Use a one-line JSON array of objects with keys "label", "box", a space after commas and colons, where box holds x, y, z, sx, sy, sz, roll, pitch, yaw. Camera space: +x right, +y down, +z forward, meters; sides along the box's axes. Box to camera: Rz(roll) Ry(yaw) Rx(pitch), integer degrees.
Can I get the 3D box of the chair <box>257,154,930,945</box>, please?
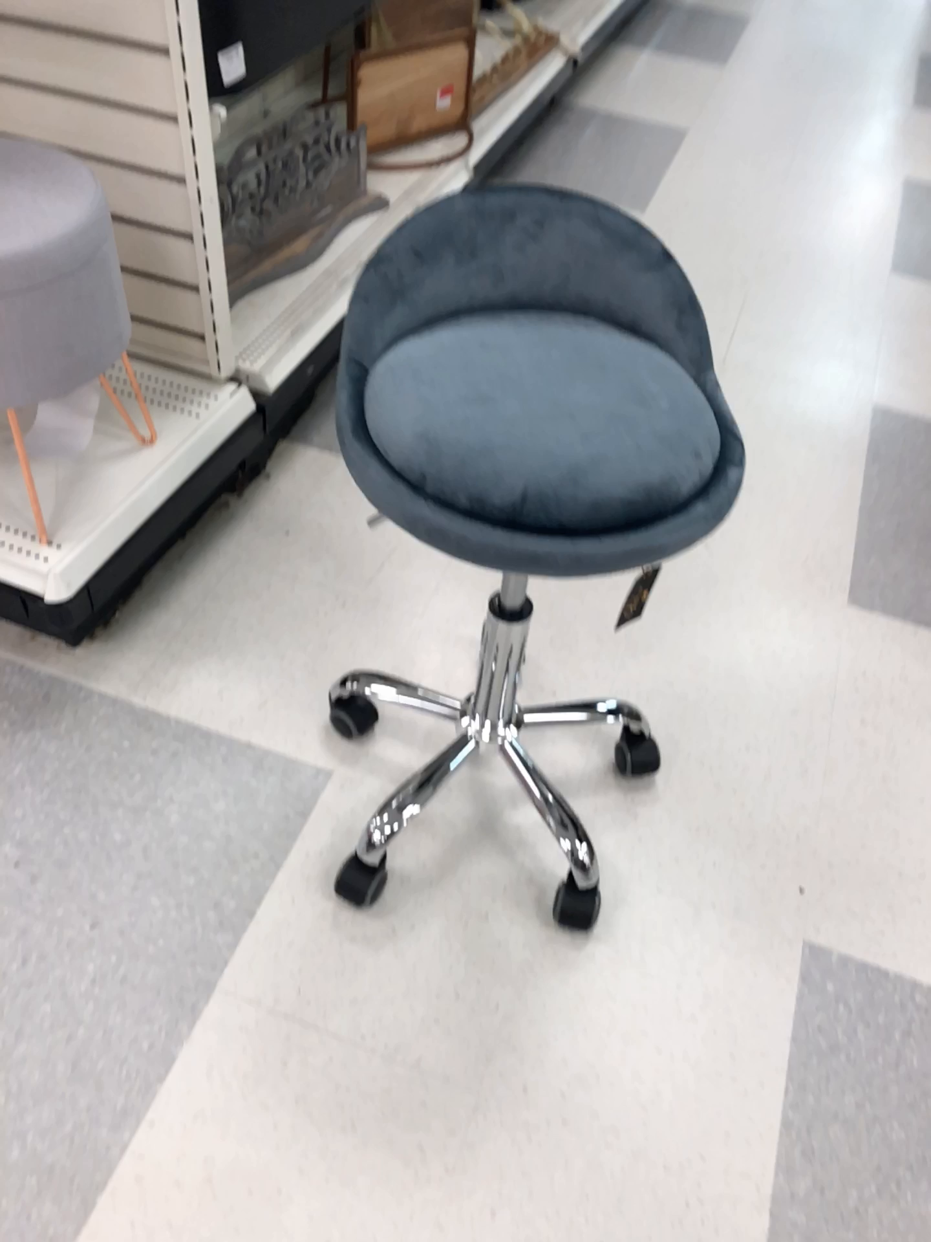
[{"label": "chair", "box": [0.078, -0.047, 1.063, 0.474, 0.630, 0.485, 3, 46, -3]}]
